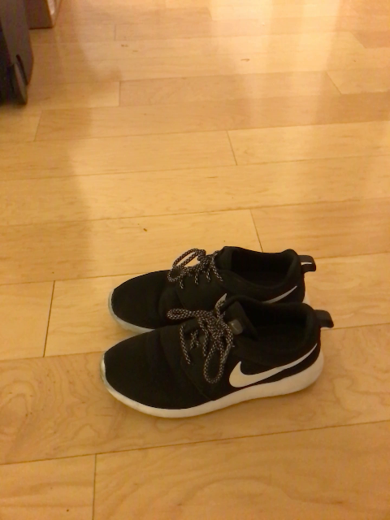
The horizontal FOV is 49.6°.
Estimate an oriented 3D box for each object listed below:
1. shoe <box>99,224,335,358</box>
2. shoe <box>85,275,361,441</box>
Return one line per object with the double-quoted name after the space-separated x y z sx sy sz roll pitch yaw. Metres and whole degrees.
0.025 0.039 0.582 0.290 0.099 0.101 -8 48 -8 "shoe"
0.026 0.114 0.508 0.290 0.099 0.111 -8 48 -8 "shoe"
